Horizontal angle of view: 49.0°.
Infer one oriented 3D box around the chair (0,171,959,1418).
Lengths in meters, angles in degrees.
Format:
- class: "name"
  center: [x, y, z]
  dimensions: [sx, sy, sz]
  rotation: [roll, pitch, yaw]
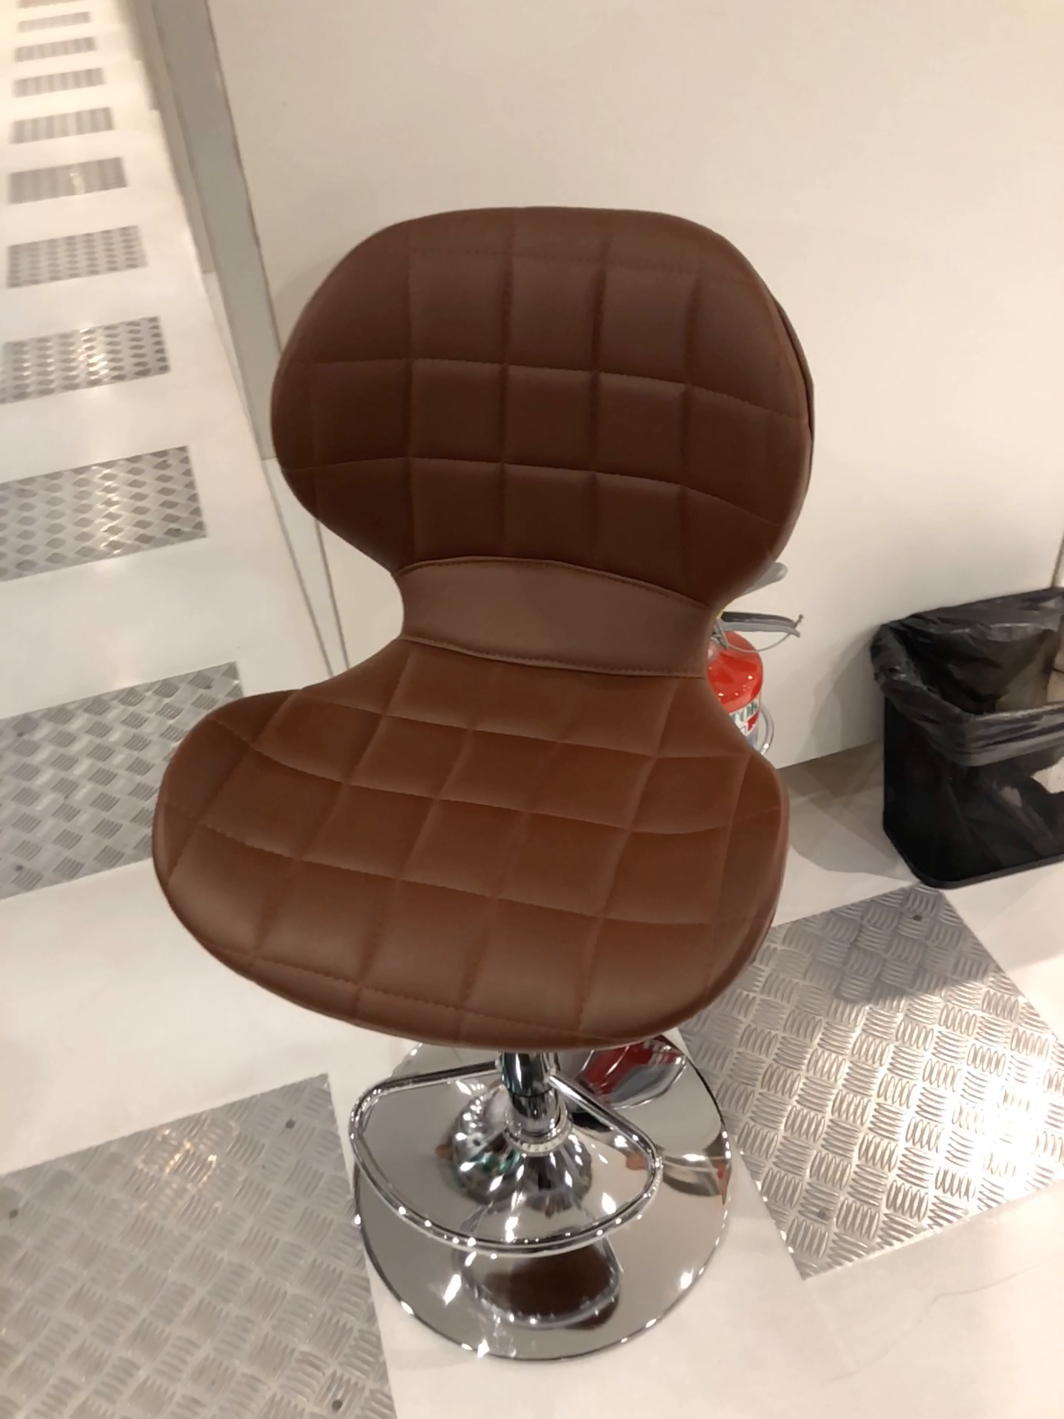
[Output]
- class: "chair"
  center: [-0.032, 0.126, 0.976]
  dimensions: [0.541, 0.923, 0.493]
  rotation: [12, 43, 19]
